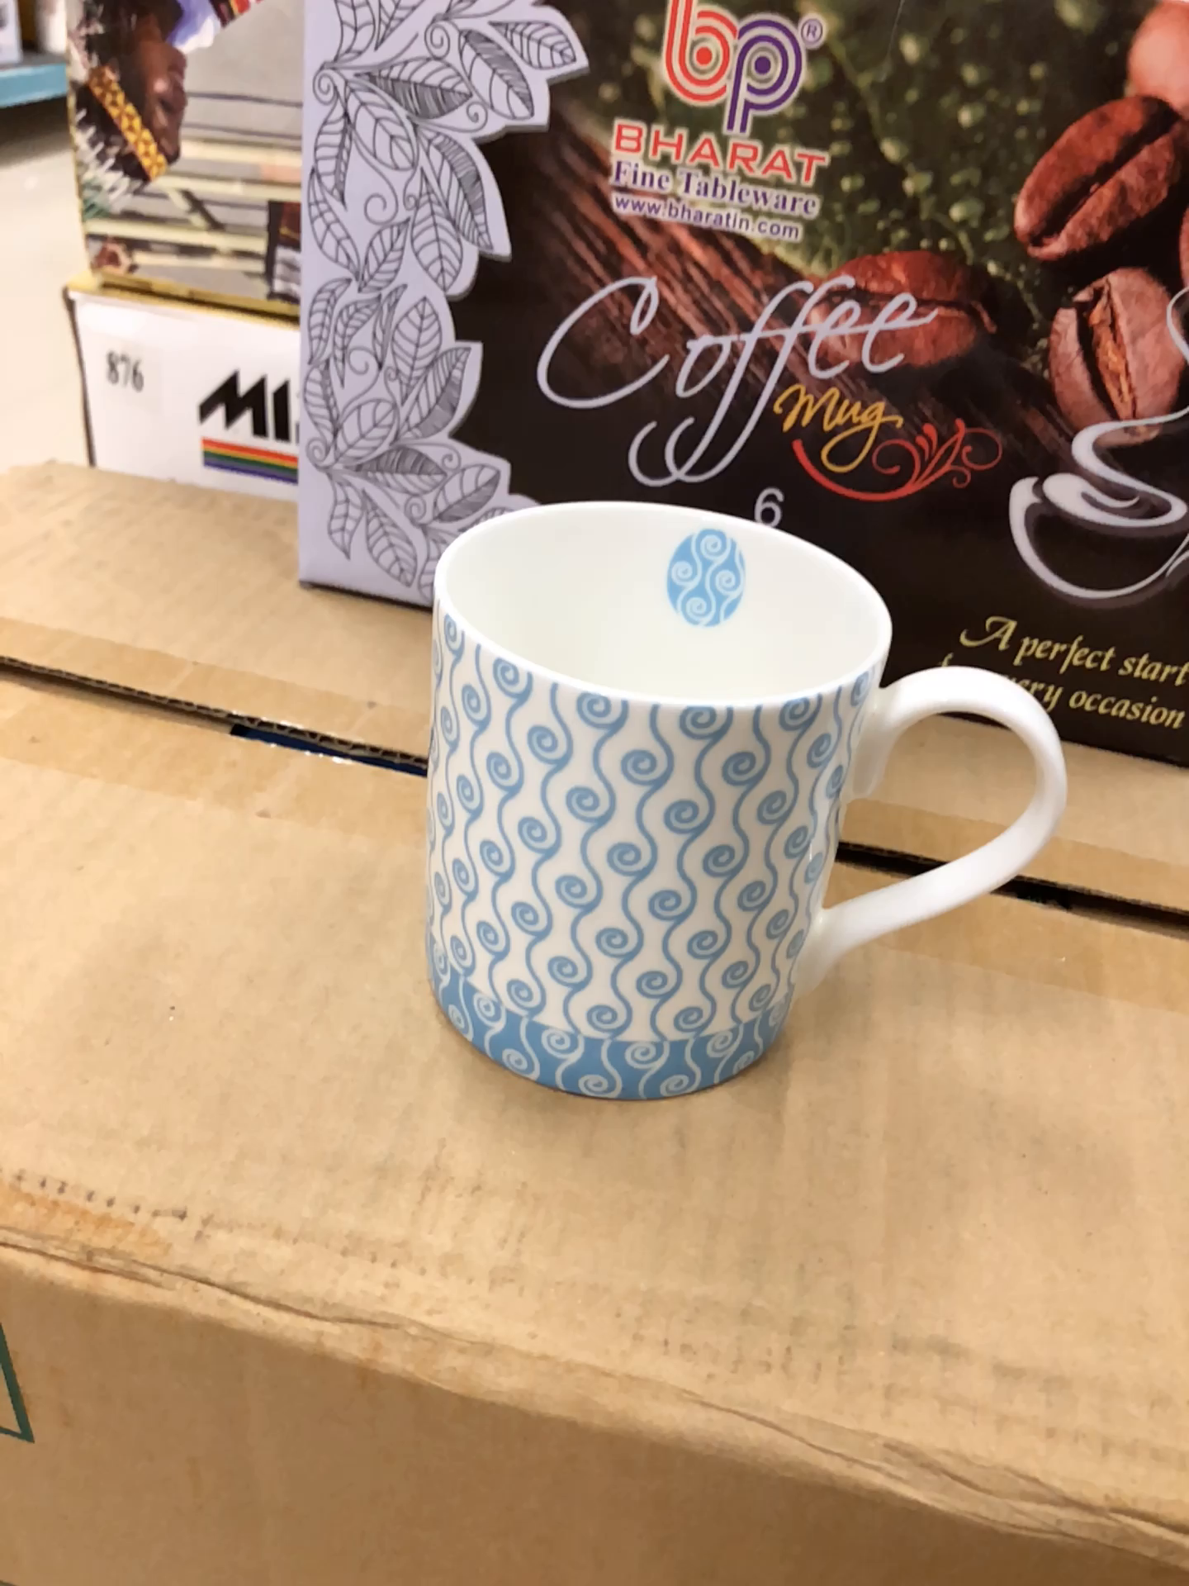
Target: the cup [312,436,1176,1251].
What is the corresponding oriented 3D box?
[{"bbox_3d":[0.020,0.005,0.220,0.110,0.089,0.071,12,35,7],"label":"cup"}]
